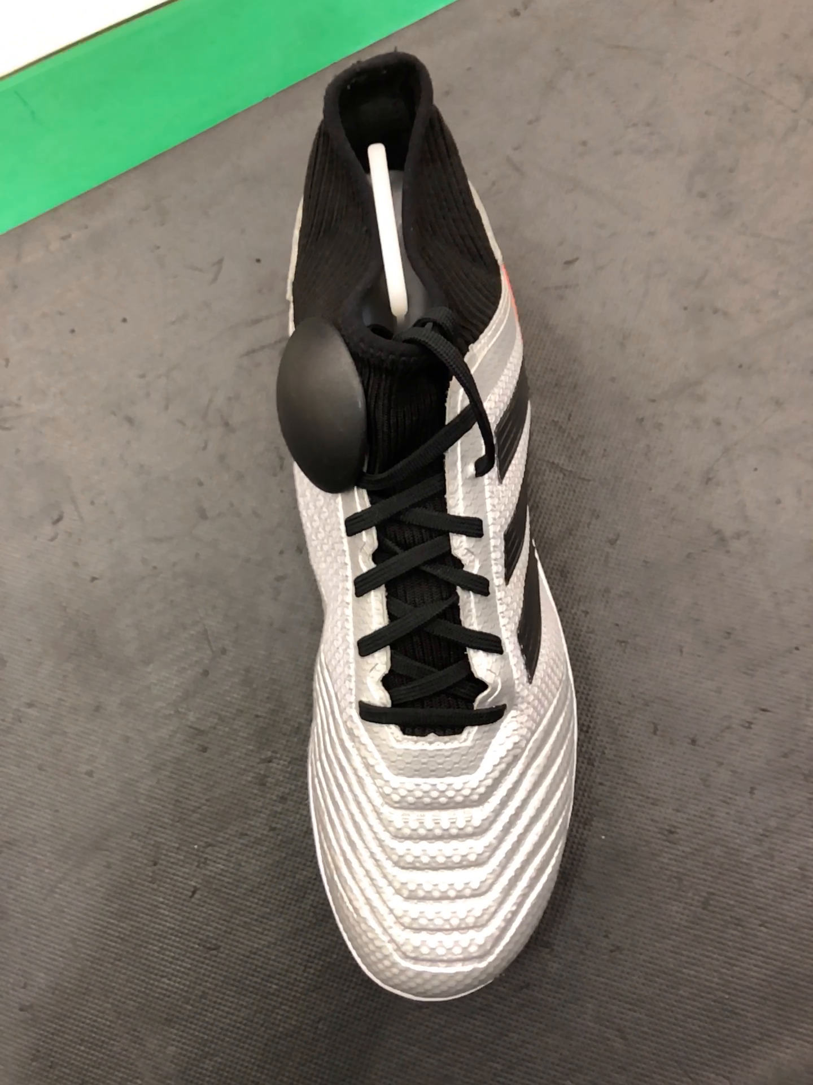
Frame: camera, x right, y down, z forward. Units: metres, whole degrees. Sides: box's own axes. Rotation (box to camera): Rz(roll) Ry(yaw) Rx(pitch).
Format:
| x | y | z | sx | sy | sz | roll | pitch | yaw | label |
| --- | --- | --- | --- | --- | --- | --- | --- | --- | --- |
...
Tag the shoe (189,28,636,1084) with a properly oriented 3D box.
| x | y | z | sx | sy | sz | roll | pitch | yaw | label |
| --- | --- | --- | --- | --- | --- | --- | --- | --- | --- |
| 0.002 | 0.010 | 0.276 | 0.090 | 0.140 | 0.250 | -4 | 79 | 6 | shoe |
